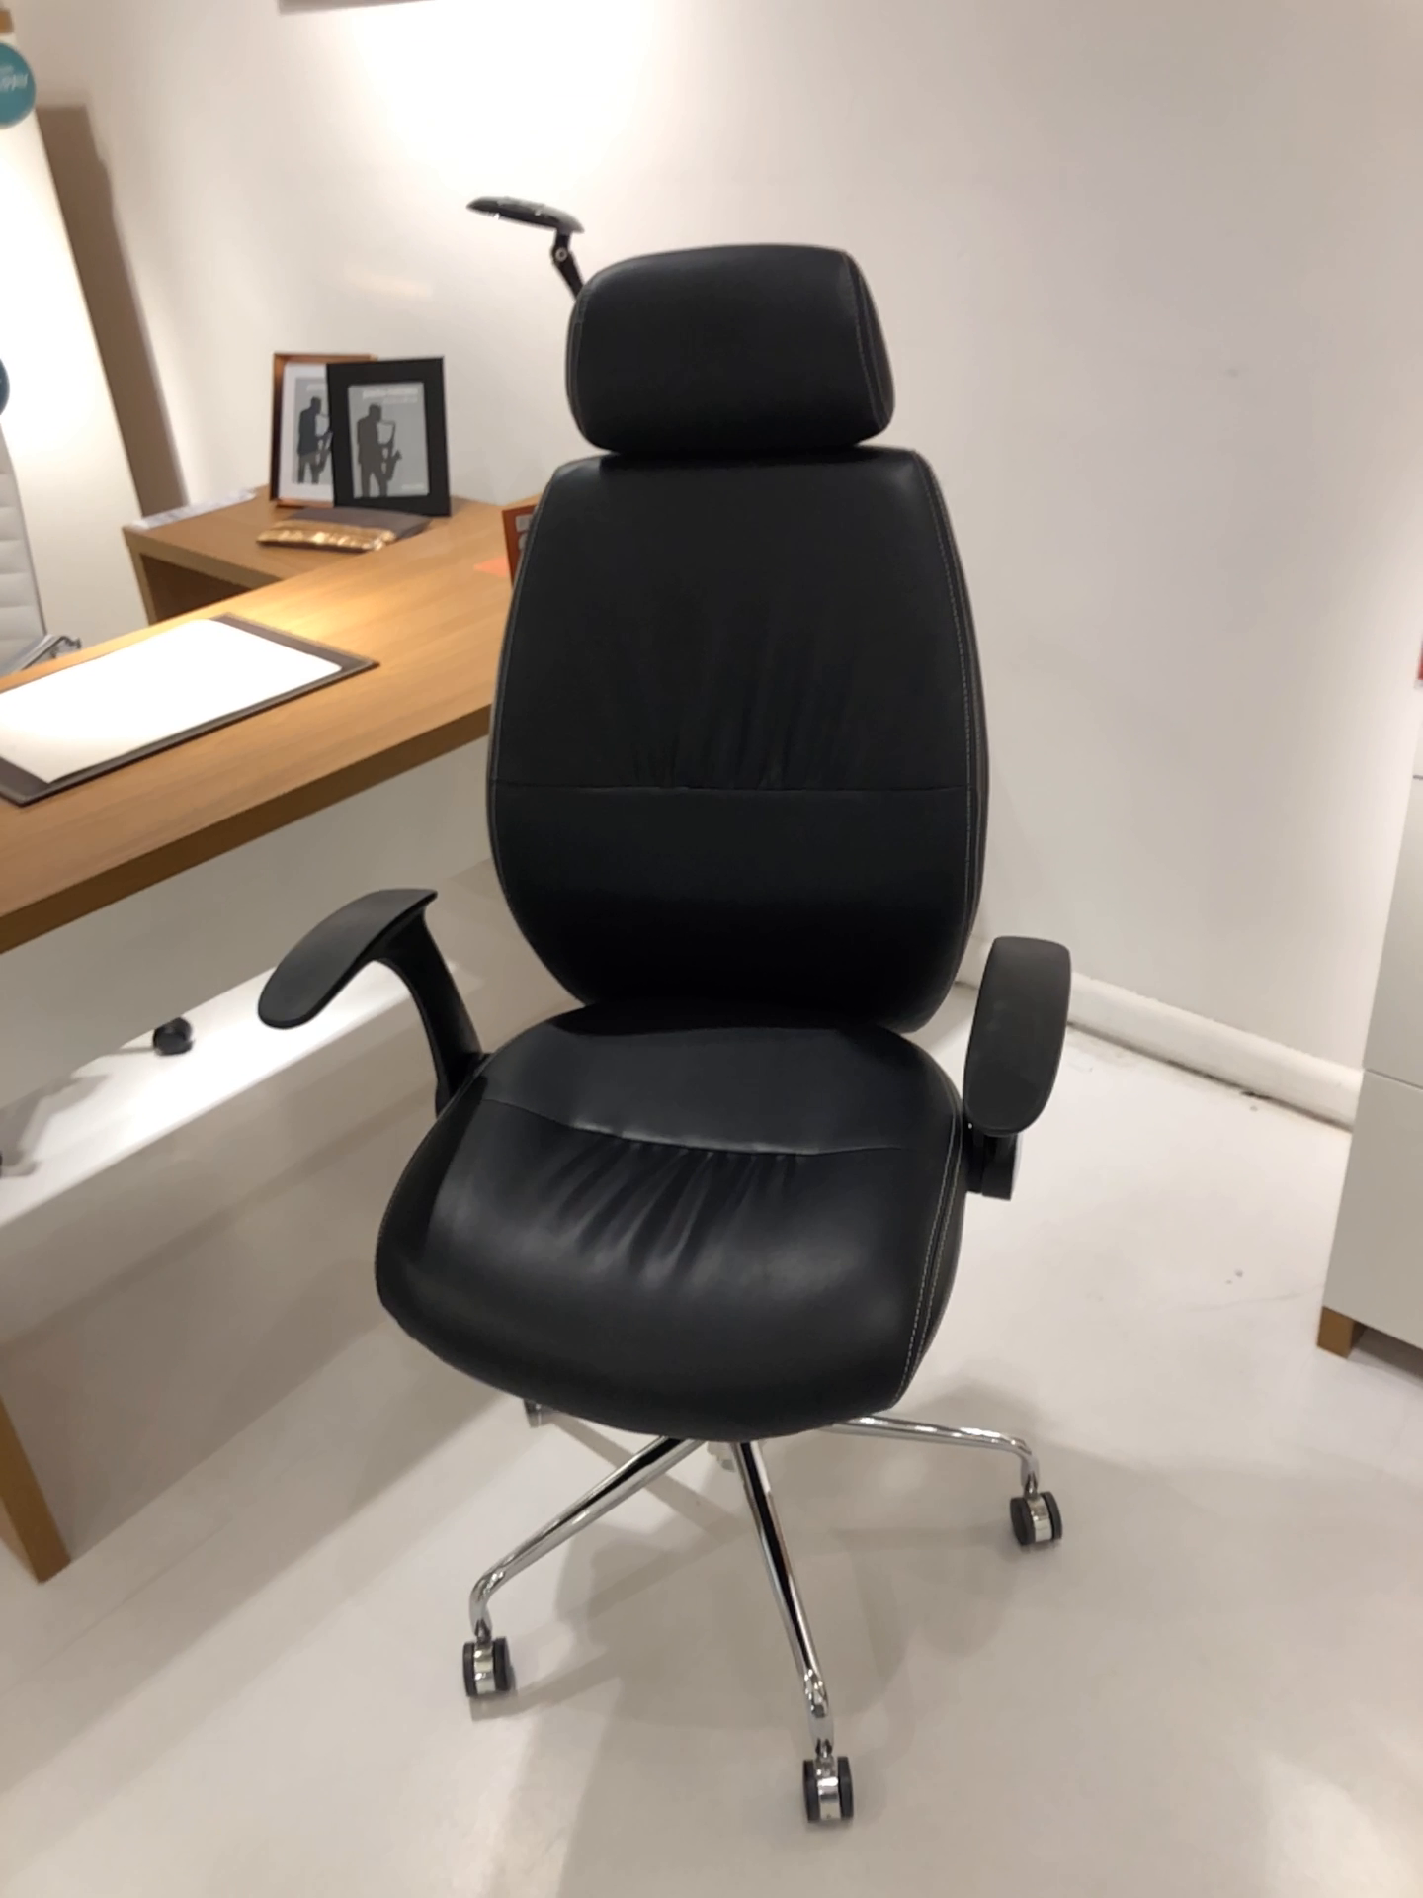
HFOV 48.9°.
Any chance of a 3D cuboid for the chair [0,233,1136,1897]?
[{"bbox_3d":[-0.024,0.108,1.467,0.690,1.300,0.715,5,34,16],"label":"chair"}]
